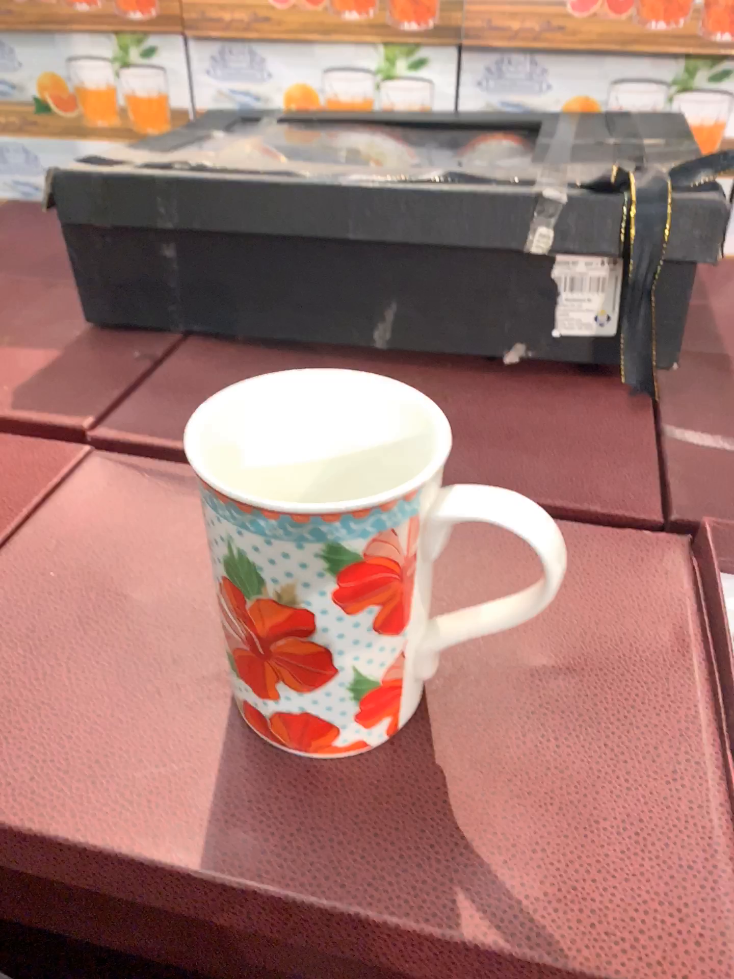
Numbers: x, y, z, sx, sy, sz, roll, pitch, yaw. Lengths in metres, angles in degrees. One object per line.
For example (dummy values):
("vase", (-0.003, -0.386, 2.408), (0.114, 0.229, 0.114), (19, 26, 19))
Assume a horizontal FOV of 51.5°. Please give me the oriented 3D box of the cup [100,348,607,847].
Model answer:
("cup", (0.003, 0.030, 0.238), (0.120, 0.110, 0.080), (9, 37, 12))
